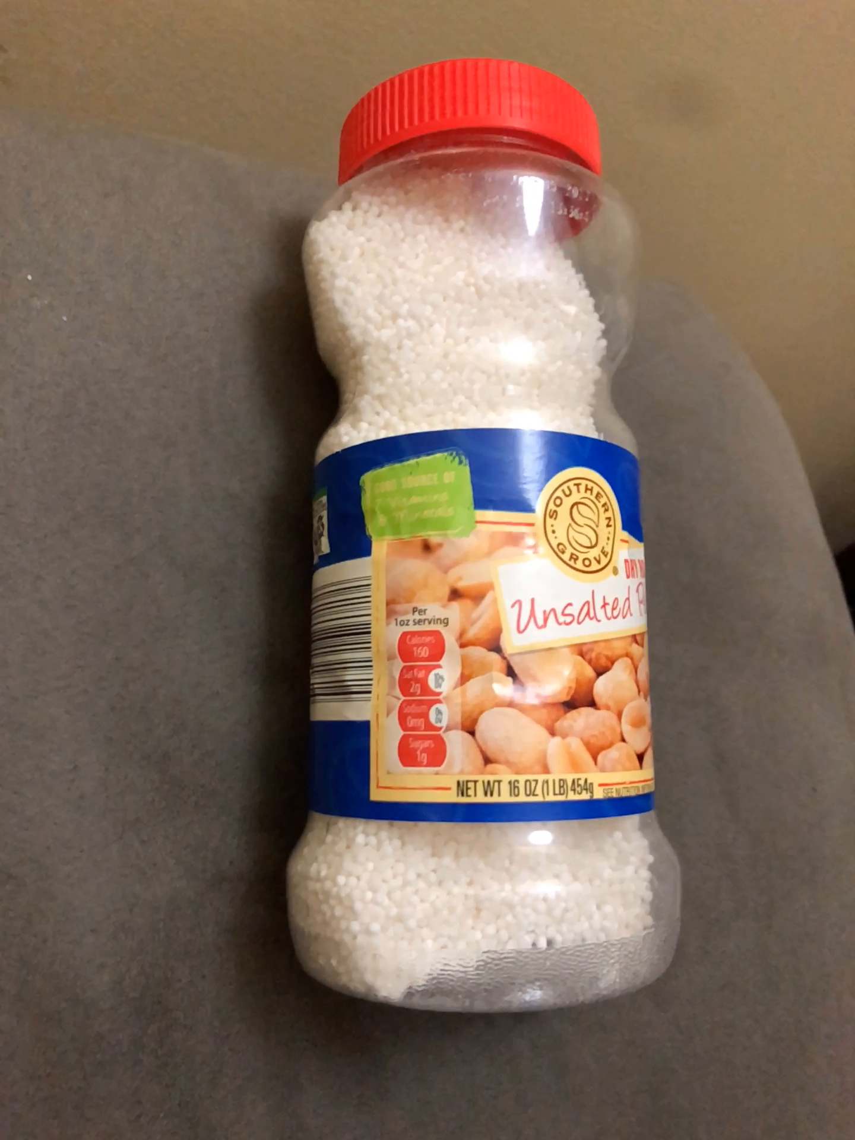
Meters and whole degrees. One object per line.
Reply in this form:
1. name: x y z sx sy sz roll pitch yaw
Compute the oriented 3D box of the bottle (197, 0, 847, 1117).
1. bottle: 0.010 -0.023 0.209 0.095 0.090 0.220 4 77 -22
